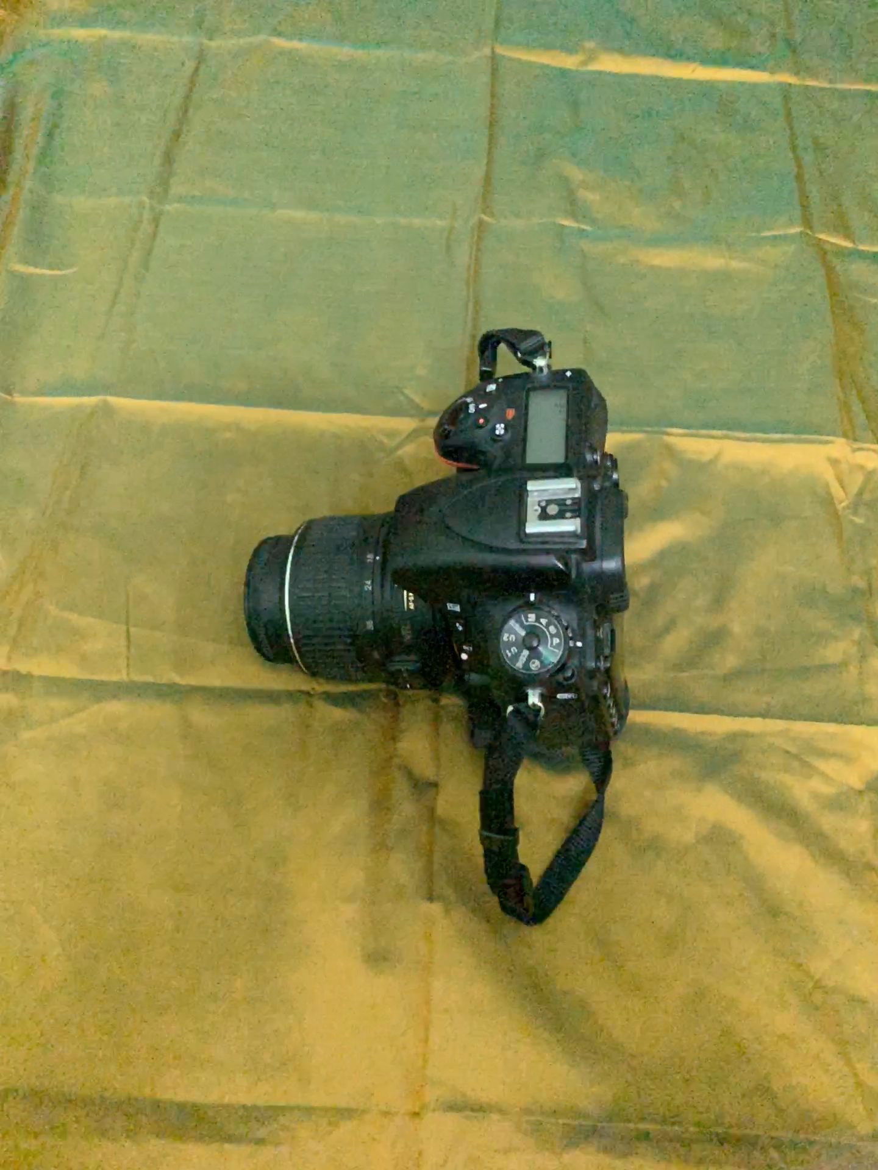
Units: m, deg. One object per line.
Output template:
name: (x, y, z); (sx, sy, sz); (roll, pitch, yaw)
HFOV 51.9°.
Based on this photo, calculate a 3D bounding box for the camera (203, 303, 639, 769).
camera: (0.007, -0.010, 0.359); (0.131, 0.120, 0.135); (-3, 62, 15)
